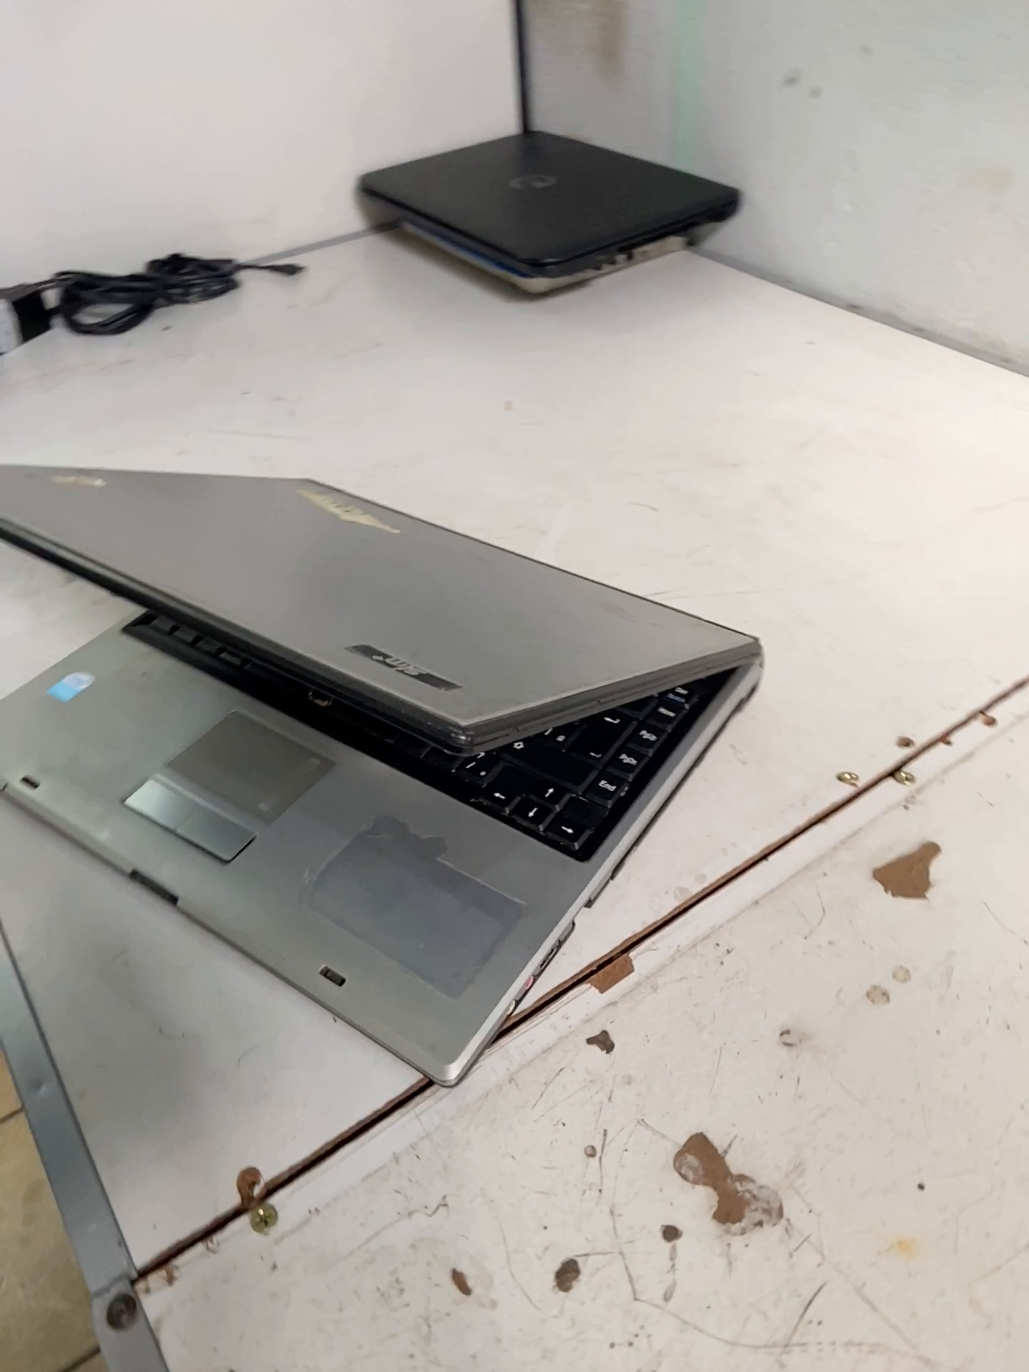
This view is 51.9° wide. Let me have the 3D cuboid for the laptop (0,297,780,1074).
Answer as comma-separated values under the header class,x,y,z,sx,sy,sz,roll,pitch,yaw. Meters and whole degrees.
class,x,y,z,sx,sy,sz,roll,pitch,yaw
laptop,-0.082,-0.042,0.486,0.317,0.130,0.254,23,49,30
